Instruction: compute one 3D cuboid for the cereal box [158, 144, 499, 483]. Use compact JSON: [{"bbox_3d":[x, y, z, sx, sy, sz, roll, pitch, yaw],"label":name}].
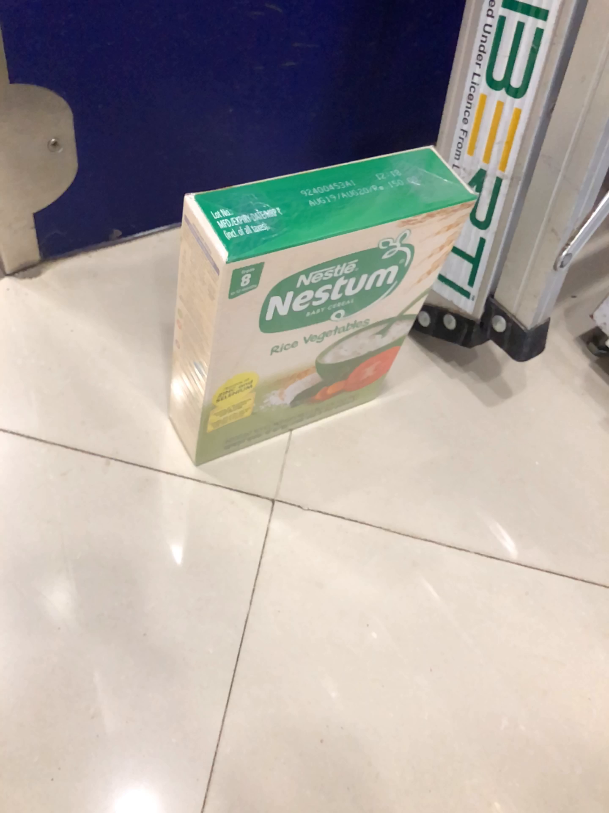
[{"bbox_3d":[0.001,-0.047,0.402,0.161,0.189,0.050,-21,64,-25],"label":"cereal box"}]
